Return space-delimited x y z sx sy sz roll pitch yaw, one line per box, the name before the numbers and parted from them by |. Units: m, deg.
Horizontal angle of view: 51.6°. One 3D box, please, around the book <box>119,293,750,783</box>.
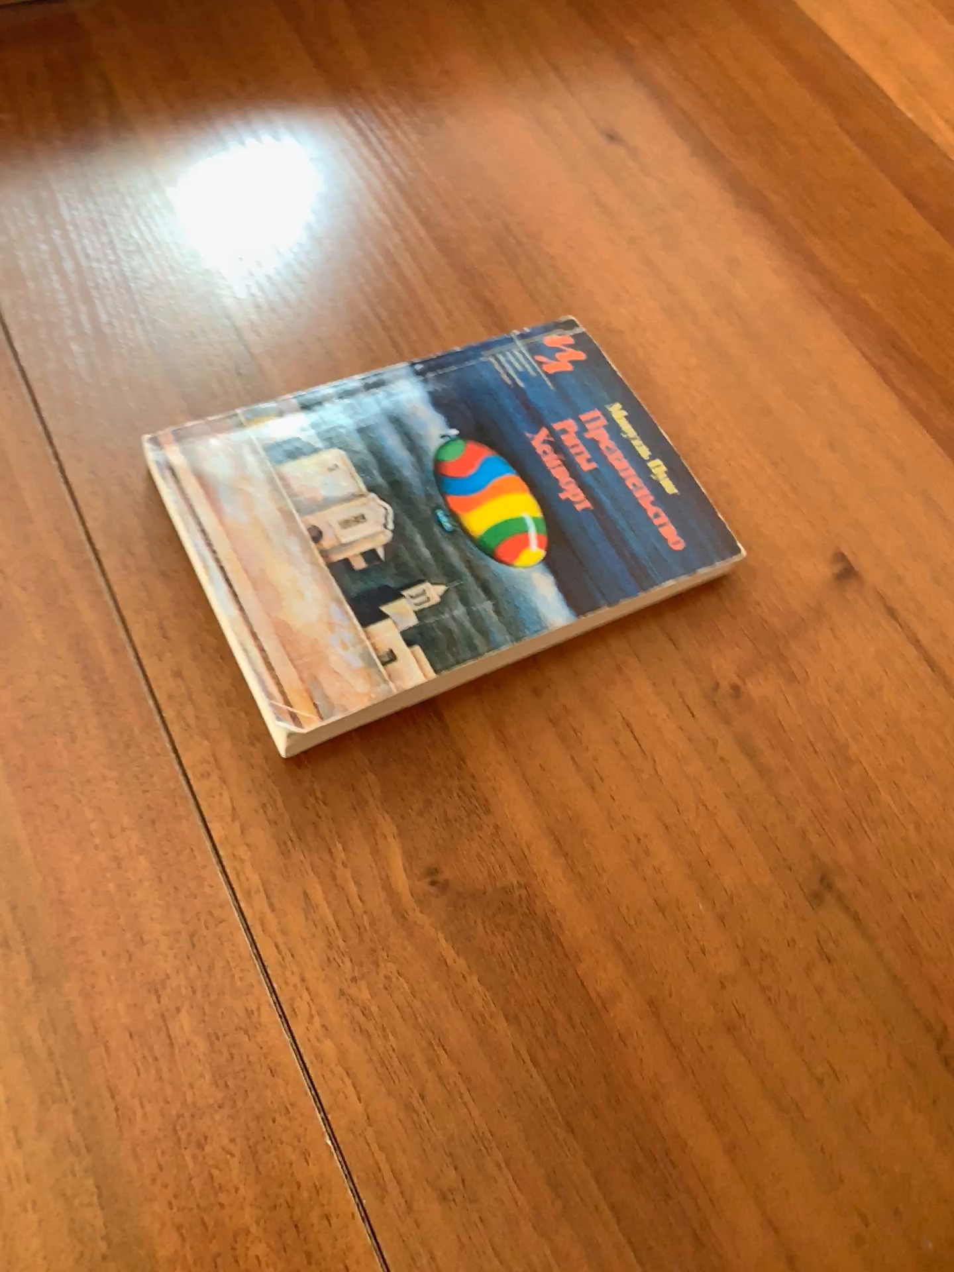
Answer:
book | -0.012 -0.041 0.310 0.158 0.016 0.121 -22 69 -20
